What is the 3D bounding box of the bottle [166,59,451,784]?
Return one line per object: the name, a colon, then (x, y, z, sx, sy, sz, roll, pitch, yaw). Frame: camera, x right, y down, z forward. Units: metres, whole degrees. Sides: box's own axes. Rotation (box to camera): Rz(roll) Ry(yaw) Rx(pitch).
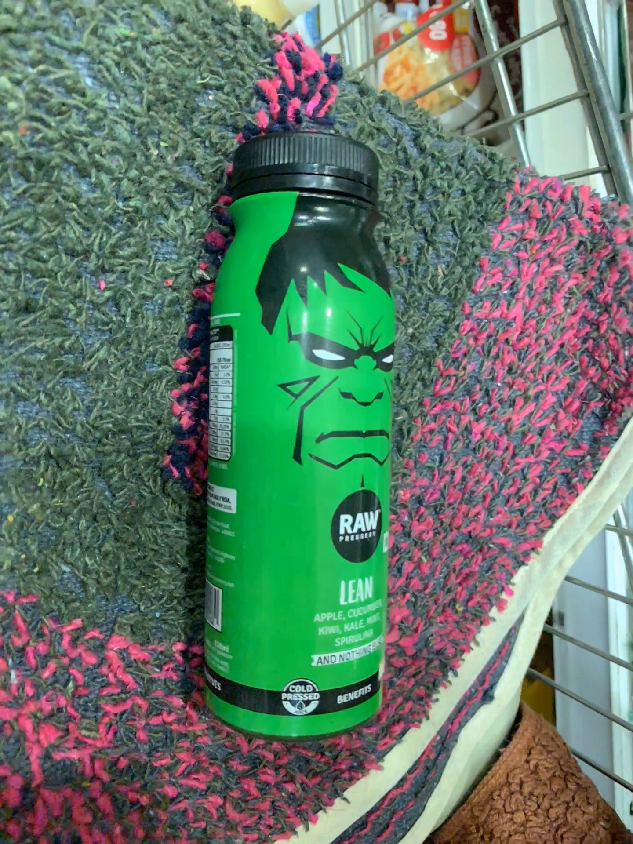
bottle: (-0.002, 0.000, 0.183, 0.060, 0.050, 0.160, -2, 92, -35)
